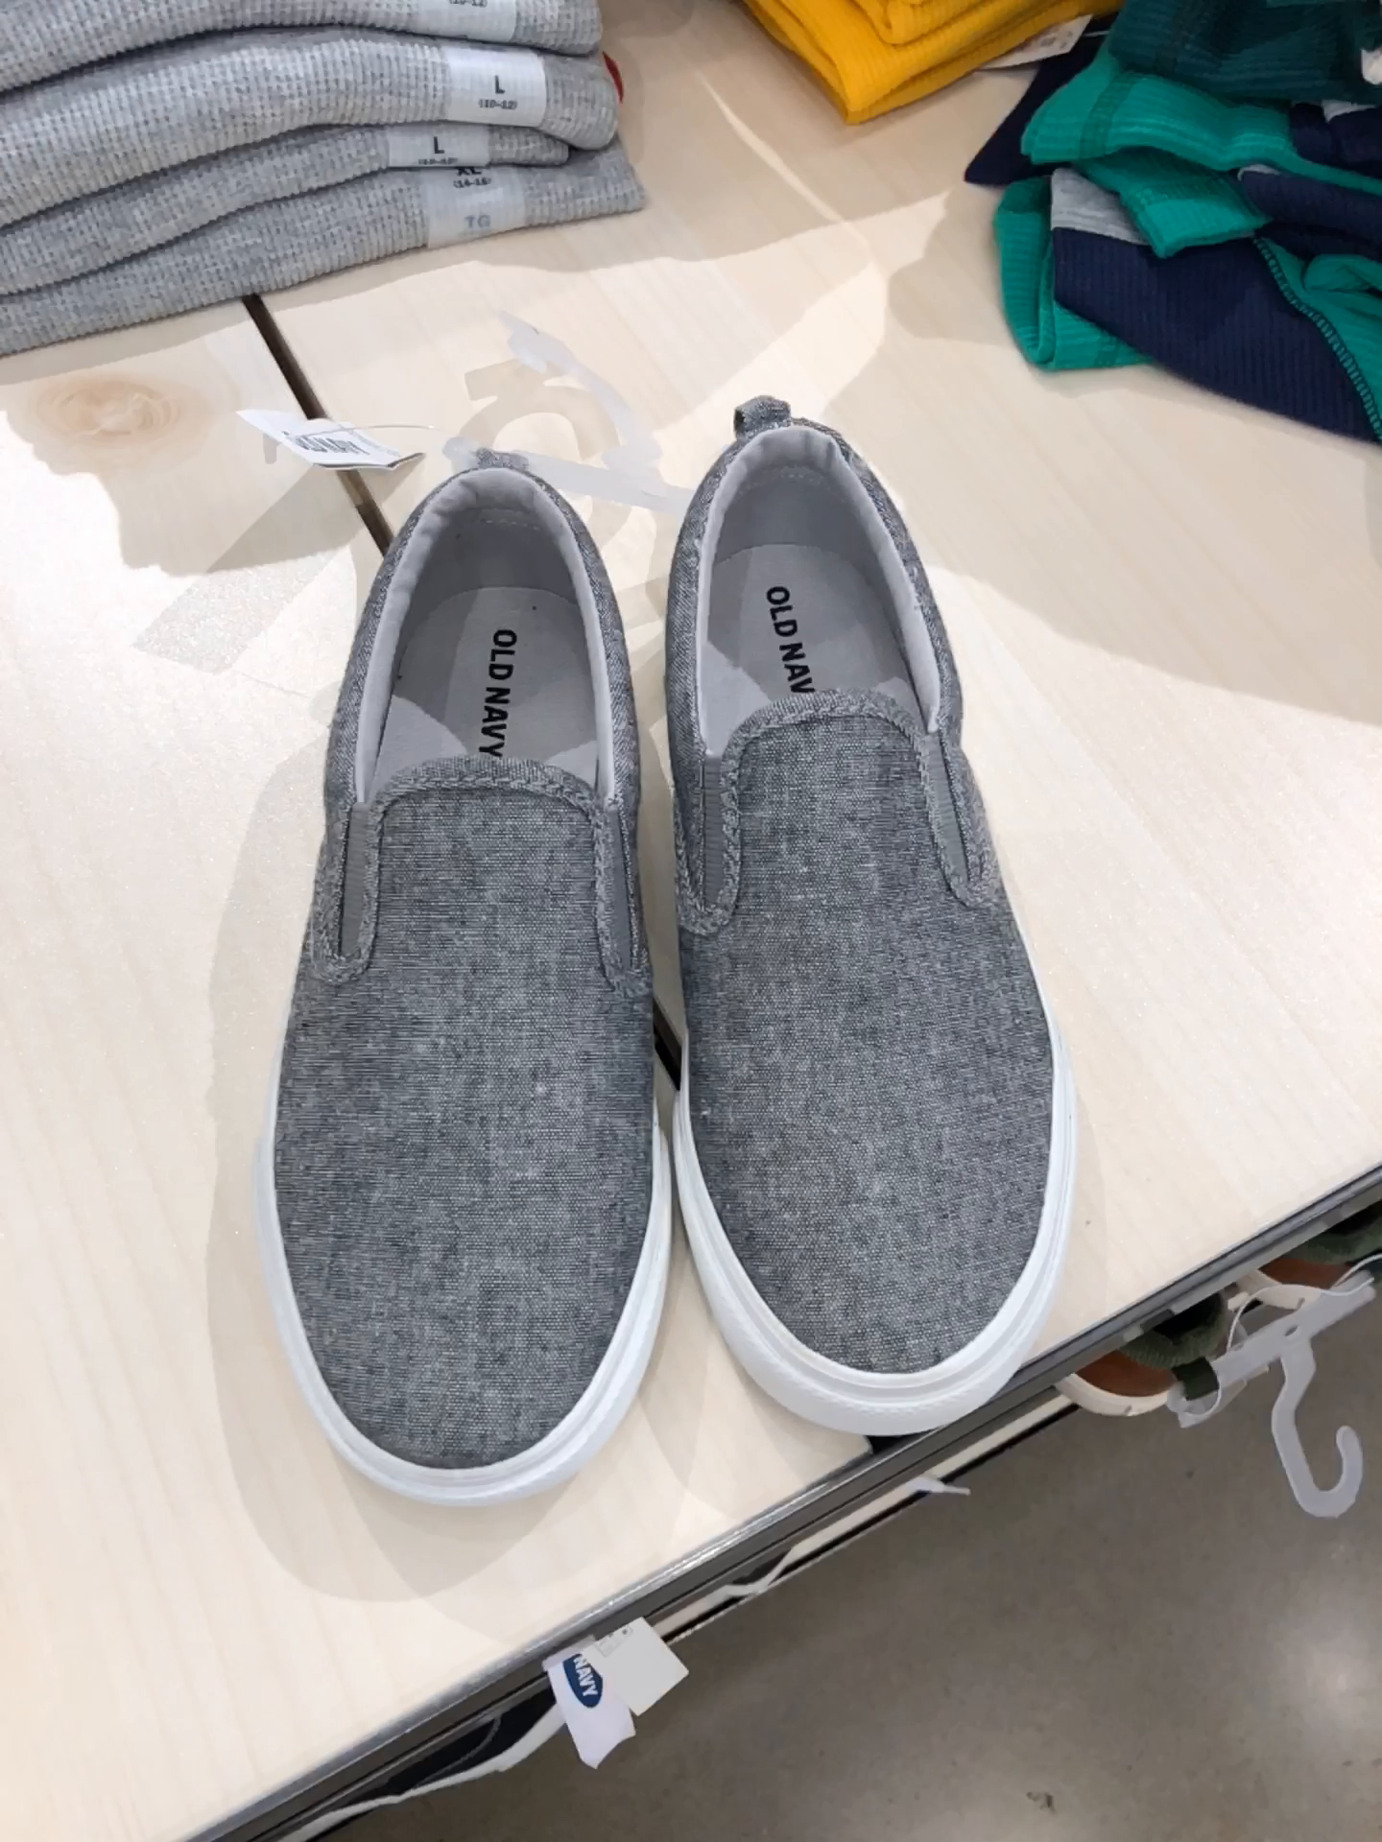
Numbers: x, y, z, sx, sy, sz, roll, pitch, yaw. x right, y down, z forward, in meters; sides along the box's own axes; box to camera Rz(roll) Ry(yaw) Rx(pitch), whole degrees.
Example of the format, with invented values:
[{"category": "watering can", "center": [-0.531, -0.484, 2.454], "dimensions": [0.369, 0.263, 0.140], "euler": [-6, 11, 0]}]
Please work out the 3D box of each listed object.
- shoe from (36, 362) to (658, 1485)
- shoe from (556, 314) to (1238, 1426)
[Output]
[{"category": "shoe", "center": [-0.053, -0.001, 0.319], "dimensions": [0.090, 0.100, 0.210], "euler": [-1, 63, -1]}, {"category": "shoe", "center": [0.028, -0.013, 0.331], "dimensions": [0.090, 0.100, 0.210], "euler": [-6, 63, -3]}]
